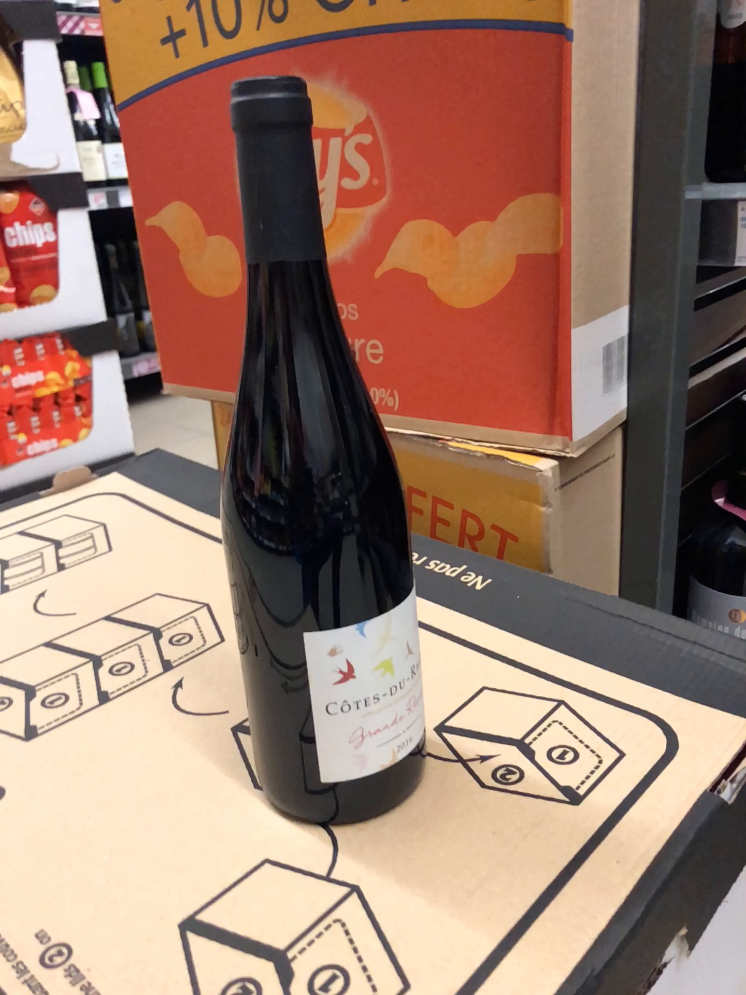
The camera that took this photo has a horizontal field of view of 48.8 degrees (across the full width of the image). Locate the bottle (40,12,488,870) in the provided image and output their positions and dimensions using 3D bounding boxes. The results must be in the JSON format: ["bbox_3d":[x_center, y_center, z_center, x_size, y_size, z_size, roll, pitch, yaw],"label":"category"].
[{"bbox_3d":[-0.028,-0.016,0.329,0.090,0.289,0.101,9,25,38],"label":"bottle"}]
